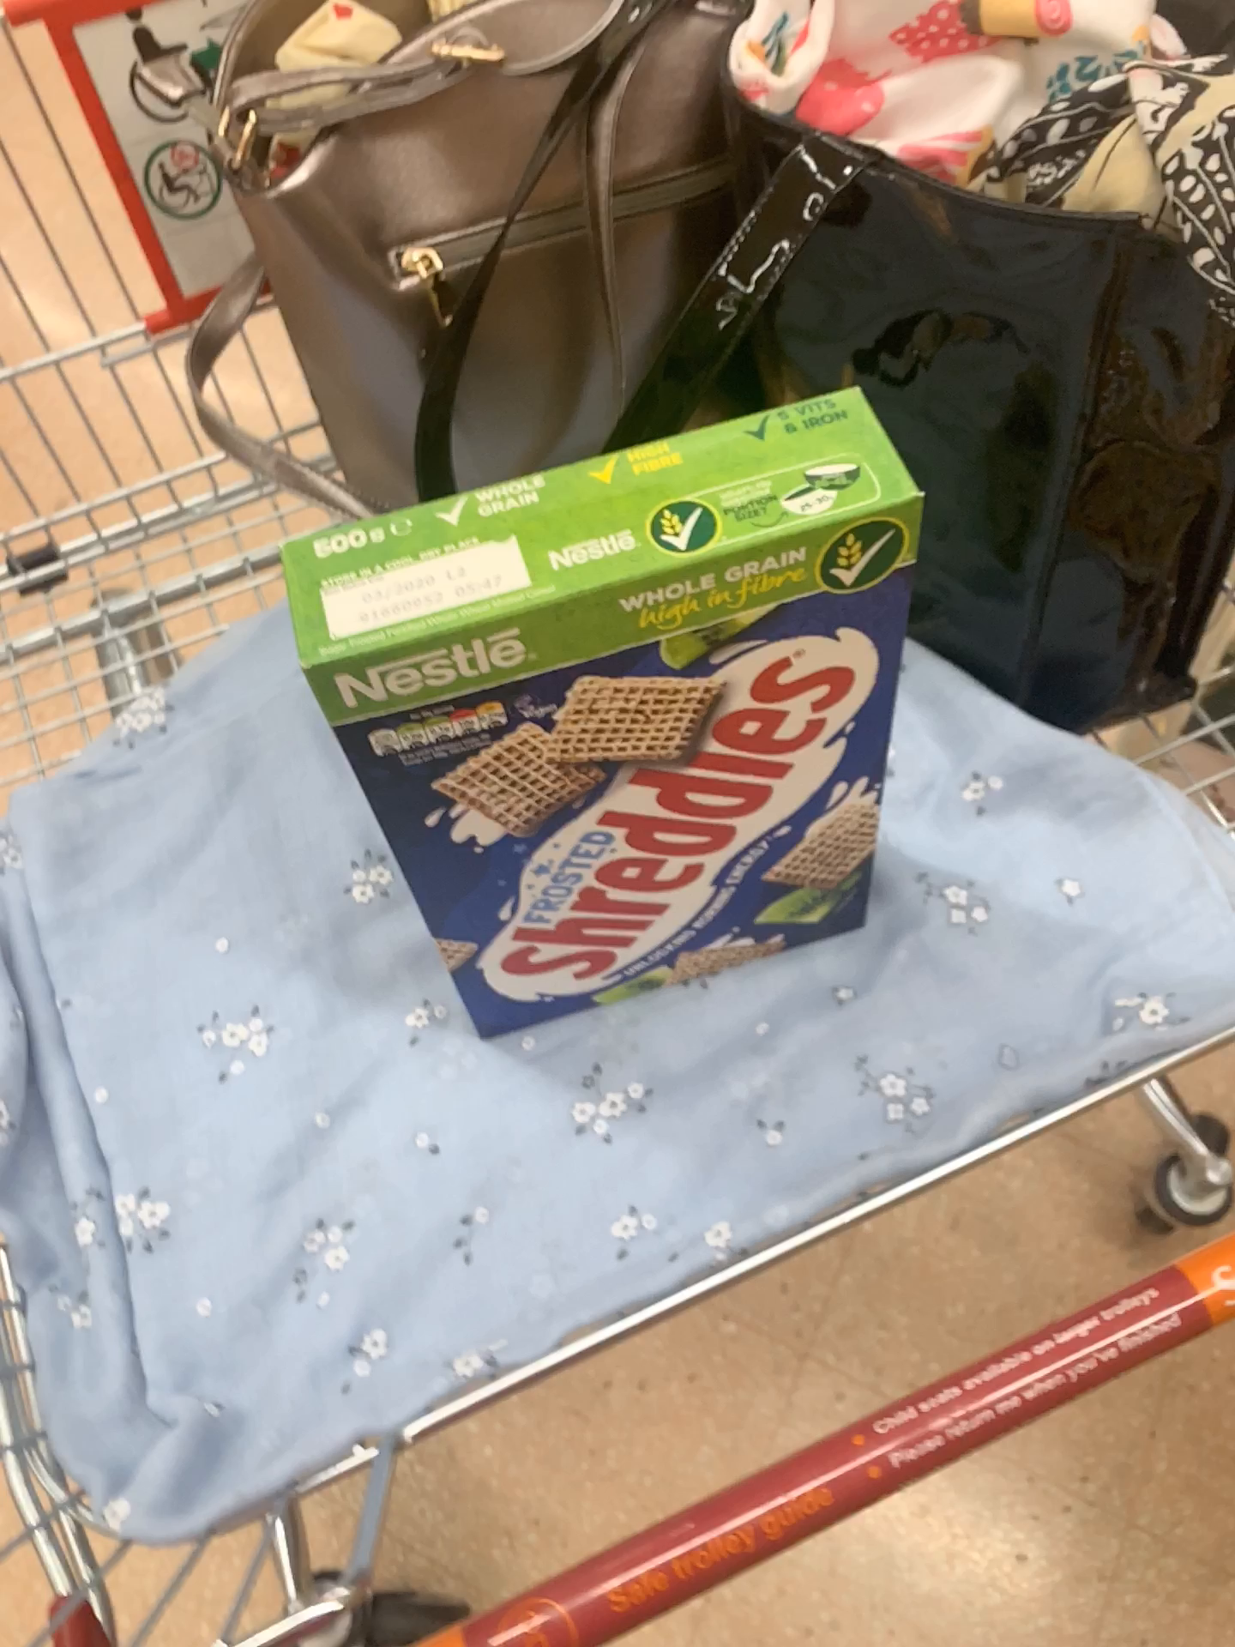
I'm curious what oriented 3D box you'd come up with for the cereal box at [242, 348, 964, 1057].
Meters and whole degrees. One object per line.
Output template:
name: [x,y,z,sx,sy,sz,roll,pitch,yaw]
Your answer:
cereal box: [0.003,-0.020,0.490,0.200,0.288,0.060,-16,59,-6]
